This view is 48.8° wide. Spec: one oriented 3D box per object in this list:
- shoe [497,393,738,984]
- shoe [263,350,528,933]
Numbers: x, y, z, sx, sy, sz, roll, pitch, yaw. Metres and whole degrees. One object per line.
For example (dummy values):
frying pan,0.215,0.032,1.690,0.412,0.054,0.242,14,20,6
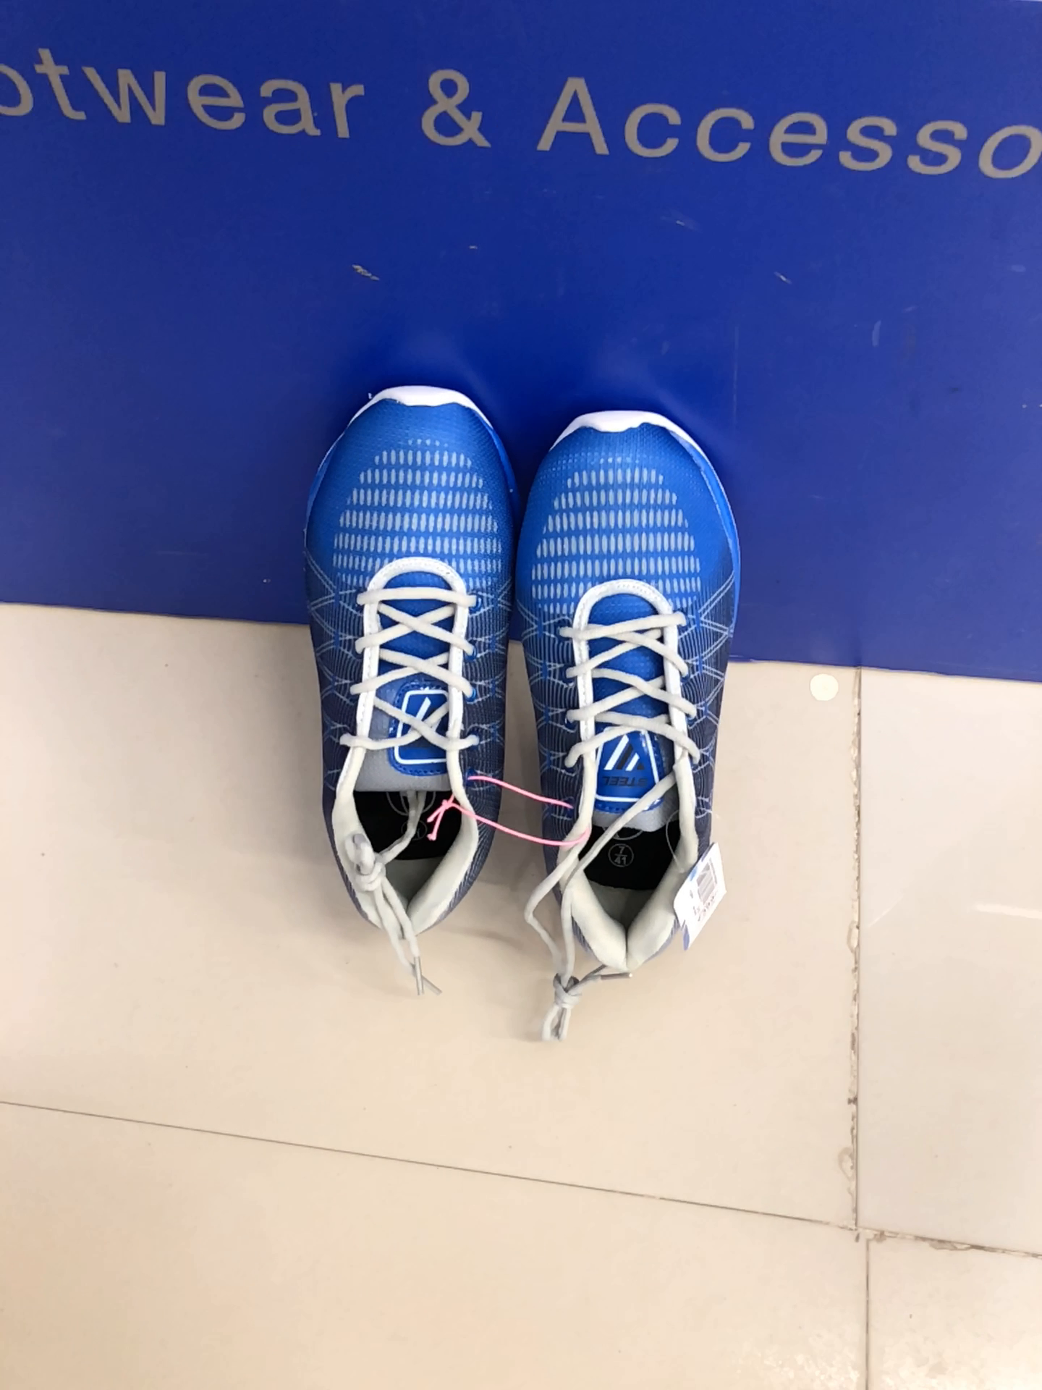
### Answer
shoe,0.047,-0.009,0.572,0.100,0.120,0.269,1,105,5
shoe,-0.058,-0.027,0.577,0.110,0.269,0.100,3,20,0
